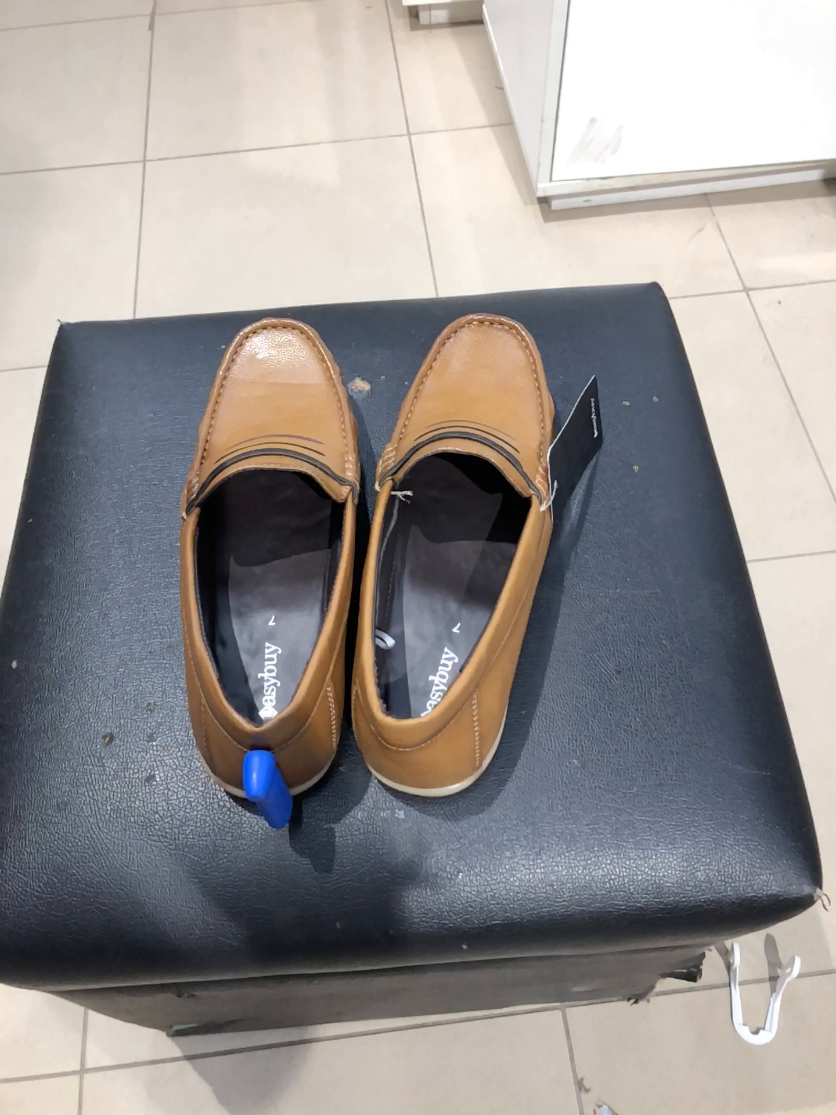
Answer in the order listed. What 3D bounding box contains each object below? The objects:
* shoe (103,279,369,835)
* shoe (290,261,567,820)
[{"bbox_3d":[-0.081,-0.011,0.472,0.098,0.088,0.274,-4,58,0],"label":"shoe"},{"bbox_3d":[0.016,-0.020,0.470,0.098,0.088,0.274,5,59,5],"label":"shoe"}]
